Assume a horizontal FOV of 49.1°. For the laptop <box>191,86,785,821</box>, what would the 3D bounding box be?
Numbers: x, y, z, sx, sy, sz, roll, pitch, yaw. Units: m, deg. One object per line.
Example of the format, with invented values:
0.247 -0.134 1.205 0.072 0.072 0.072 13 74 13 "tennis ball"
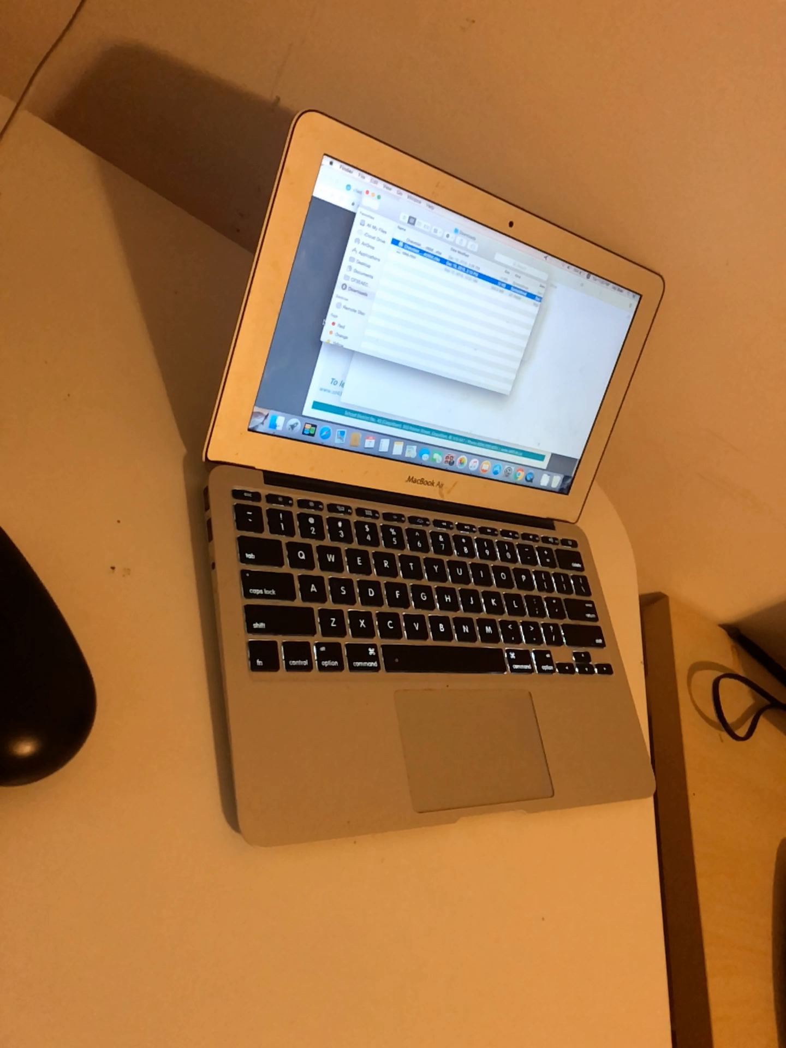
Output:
0.059 -0.024 0.473 0.281 0.127 0.306 8 61 -37 "laptop"
